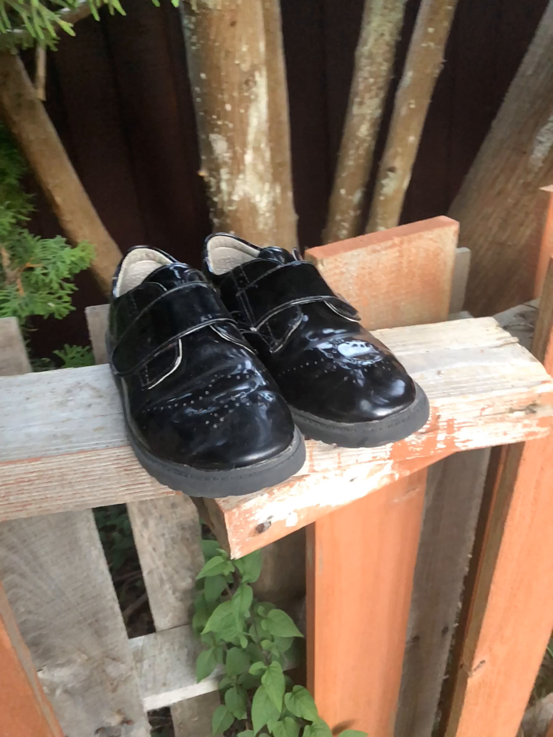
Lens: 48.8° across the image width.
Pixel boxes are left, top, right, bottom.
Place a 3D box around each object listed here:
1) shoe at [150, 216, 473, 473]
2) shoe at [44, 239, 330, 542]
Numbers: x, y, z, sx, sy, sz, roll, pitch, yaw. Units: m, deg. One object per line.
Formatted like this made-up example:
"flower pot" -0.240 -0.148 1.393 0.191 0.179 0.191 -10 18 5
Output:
"shoe" 0.007 -0.035 0.407 0.090 0.070 0.231 -20 33 -26
"shoe" -0.070 -0.010 0.387 0.090 0.070 0.241 -18 33 -23
